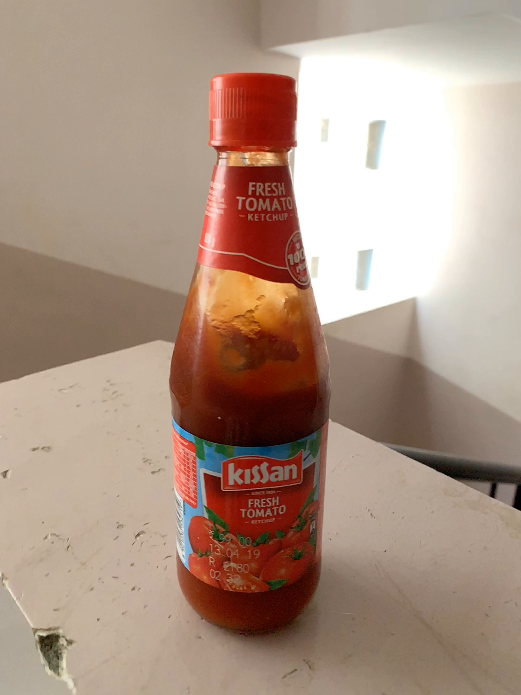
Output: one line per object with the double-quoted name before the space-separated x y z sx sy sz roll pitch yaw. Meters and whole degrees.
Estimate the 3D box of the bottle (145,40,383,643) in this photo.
"bottle" -0.006 0.005 0.225 0.070 0.219 0.070 2 18 -1
